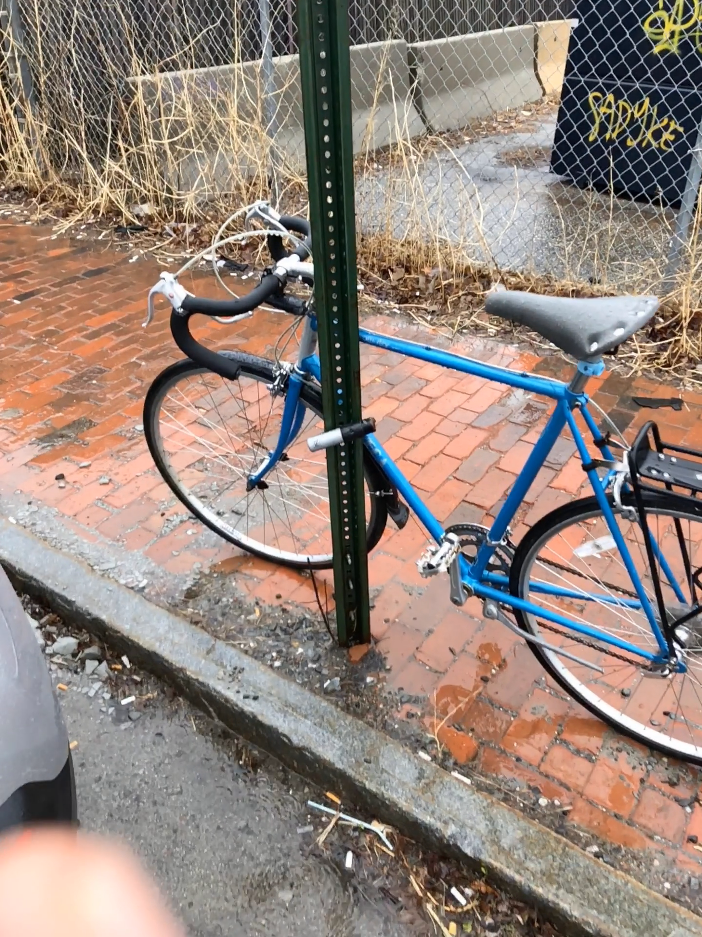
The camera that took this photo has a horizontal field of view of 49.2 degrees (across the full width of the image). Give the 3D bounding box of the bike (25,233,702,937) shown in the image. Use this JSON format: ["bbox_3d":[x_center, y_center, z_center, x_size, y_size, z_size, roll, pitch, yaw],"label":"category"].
[{"bbox_3d":[0.165,0.130,1.765,1.866,0.919,0.474,19,37,26],"label":"bike"}]
